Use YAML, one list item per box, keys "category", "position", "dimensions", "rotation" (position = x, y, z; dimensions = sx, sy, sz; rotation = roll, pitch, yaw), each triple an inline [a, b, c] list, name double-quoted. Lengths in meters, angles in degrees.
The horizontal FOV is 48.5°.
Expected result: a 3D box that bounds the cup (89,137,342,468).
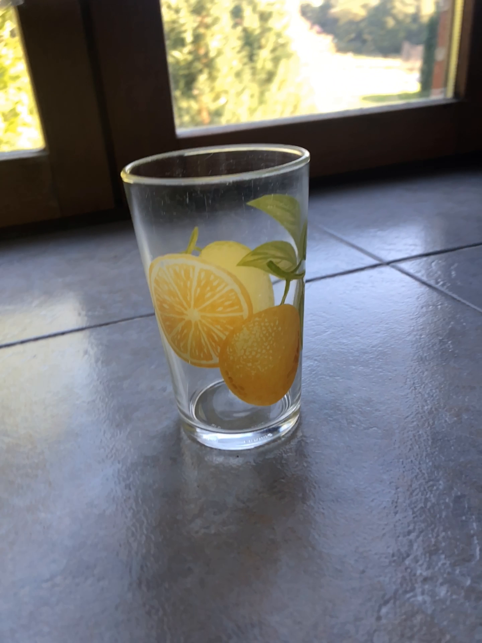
- category: "cup"
  position: [-0.004, -0.013, 0.230]
  dimensions: [0.069, 0.112, 0.070]
  rotation: [-3, 27, 2]
